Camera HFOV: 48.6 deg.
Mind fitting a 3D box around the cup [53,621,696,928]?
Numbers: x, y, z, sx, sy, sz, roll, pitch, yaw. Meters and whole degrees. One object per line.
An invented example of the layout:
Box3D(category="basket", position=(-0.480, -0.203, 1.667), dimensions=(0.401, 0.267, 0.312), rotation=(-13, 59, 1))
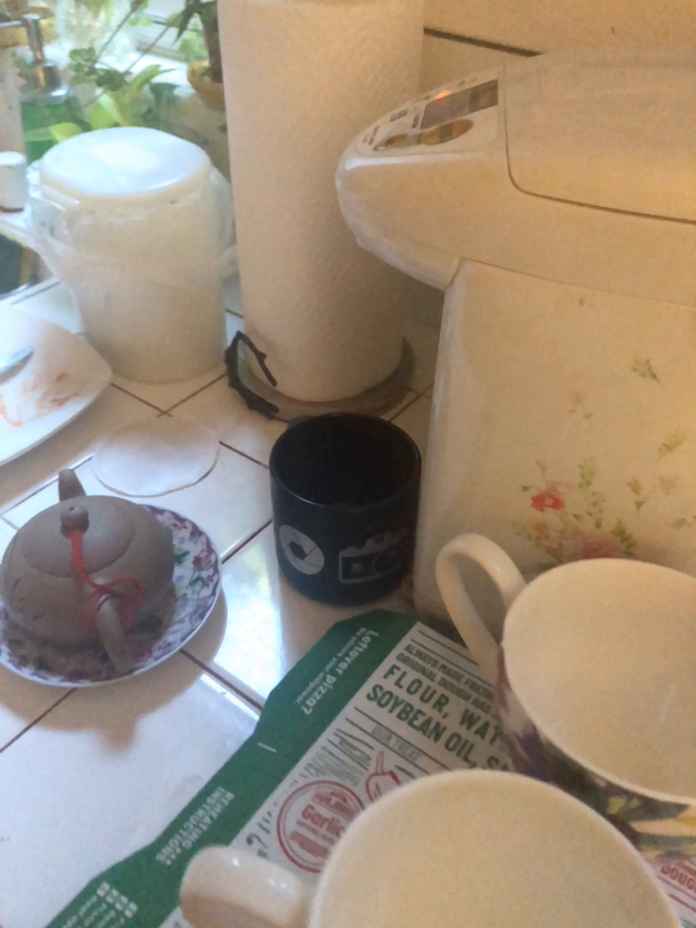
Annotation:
Box3D(category="cup", position=(0.015, 0.141, 0.235), dimensions=(0.160, 0.079, 0.101), rotation=(22, 44, 22))

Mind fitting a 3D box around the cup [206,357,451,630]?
Box3D(category="cup", position=(-0.017, 0.012, 0.485), dimensions=(0.090, 0.079, 0.141), rotation=(-20, 45, -23))

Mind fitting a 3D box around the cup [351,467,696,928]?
Box3D(category="cup", position=(0.094, 0.092, 0.315), dimensions=(0.101, 0.079, 0.160), rotation=(-31, 50, -32))
